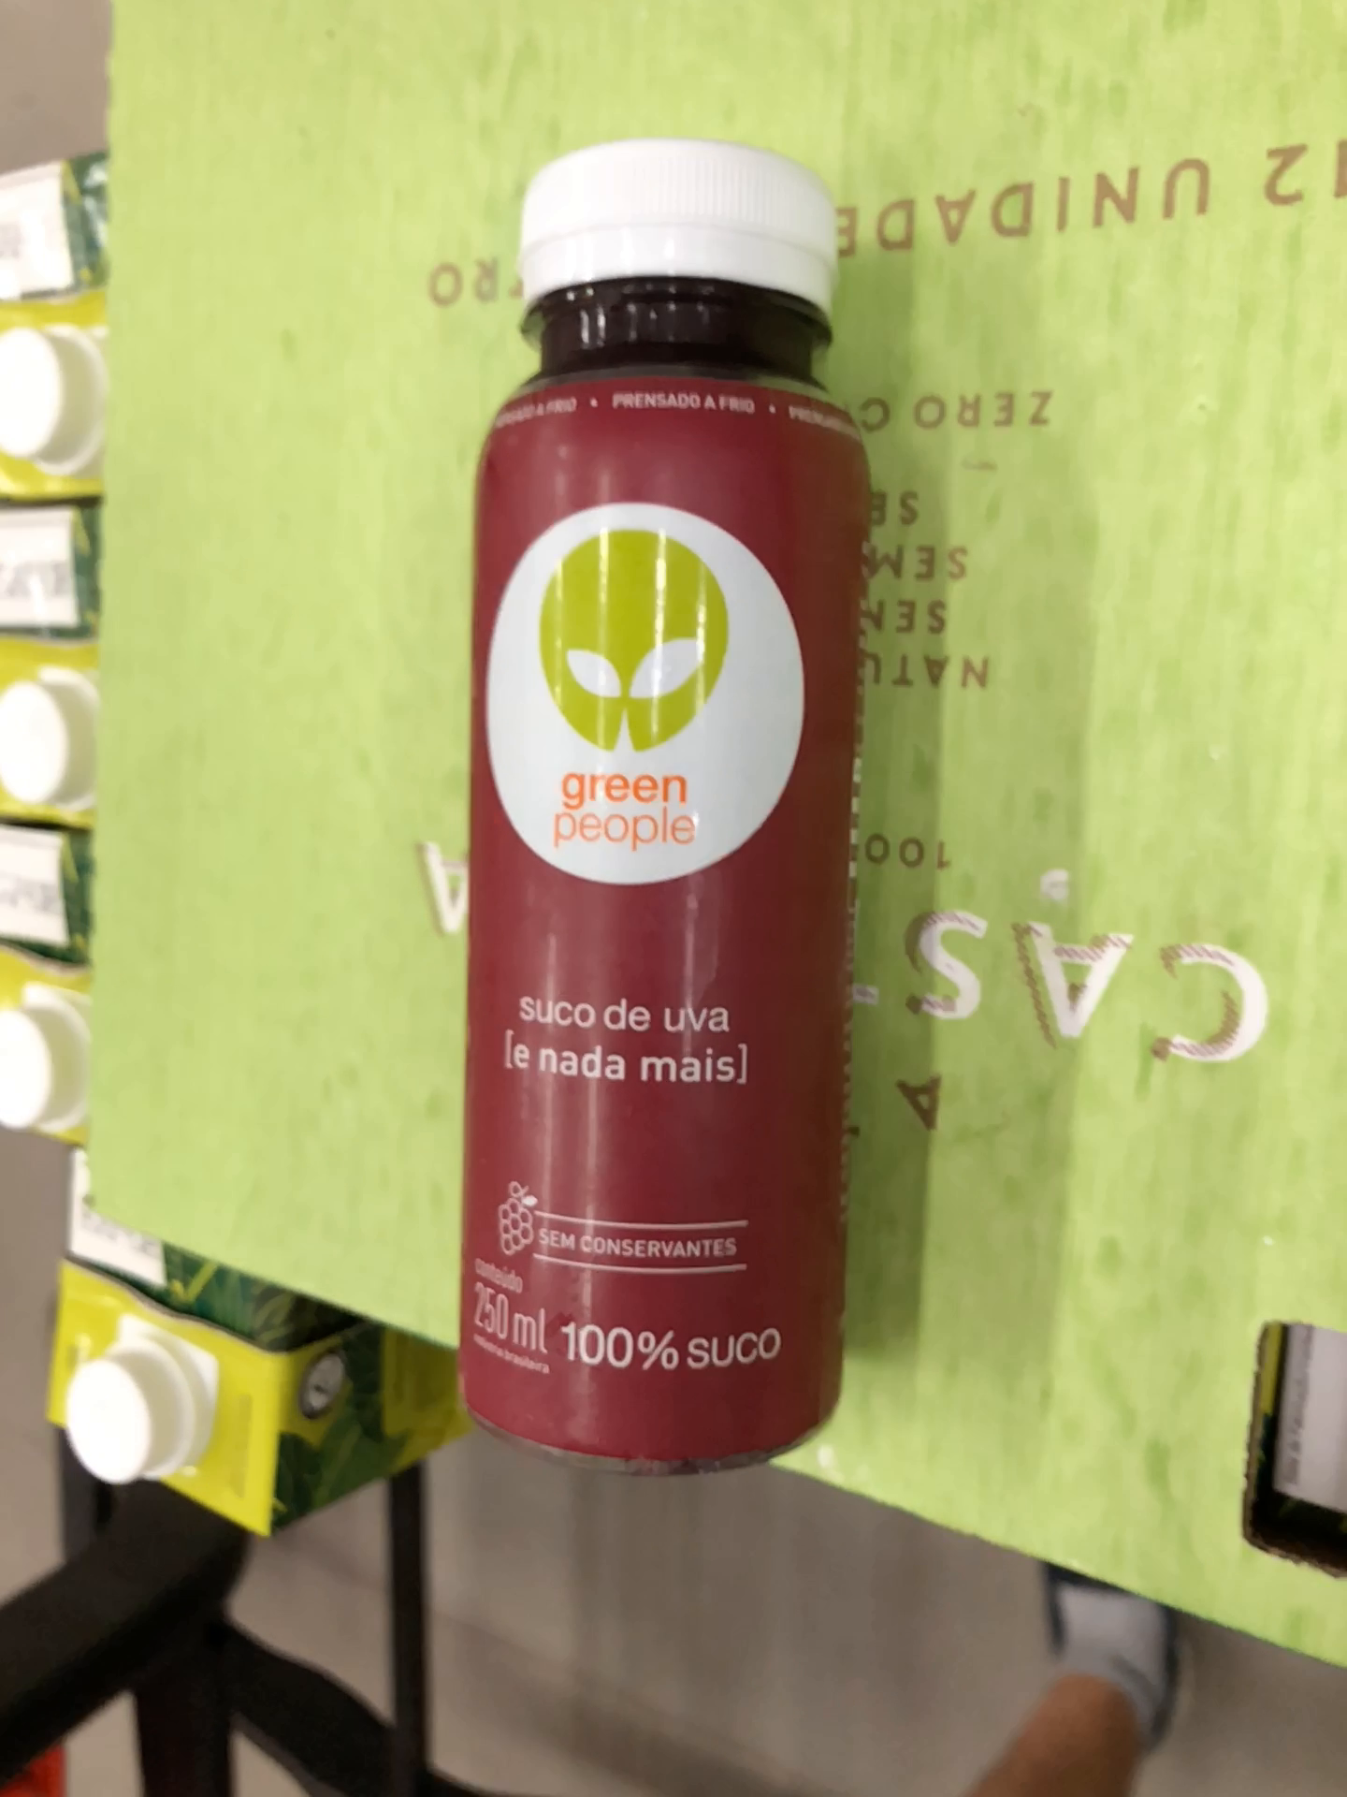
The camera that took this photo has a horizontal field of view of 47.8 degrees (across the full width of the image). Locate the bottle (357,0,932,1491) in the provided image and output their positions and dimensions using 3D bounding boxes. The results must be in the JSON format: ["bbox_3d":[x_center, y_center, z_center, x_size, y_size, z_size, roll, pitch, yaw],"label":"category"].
[{"bbox_3d":[-0.001,-0.021,0.198,0.060,0.060,0.170,3,96,9],"label":"bottle"}]
